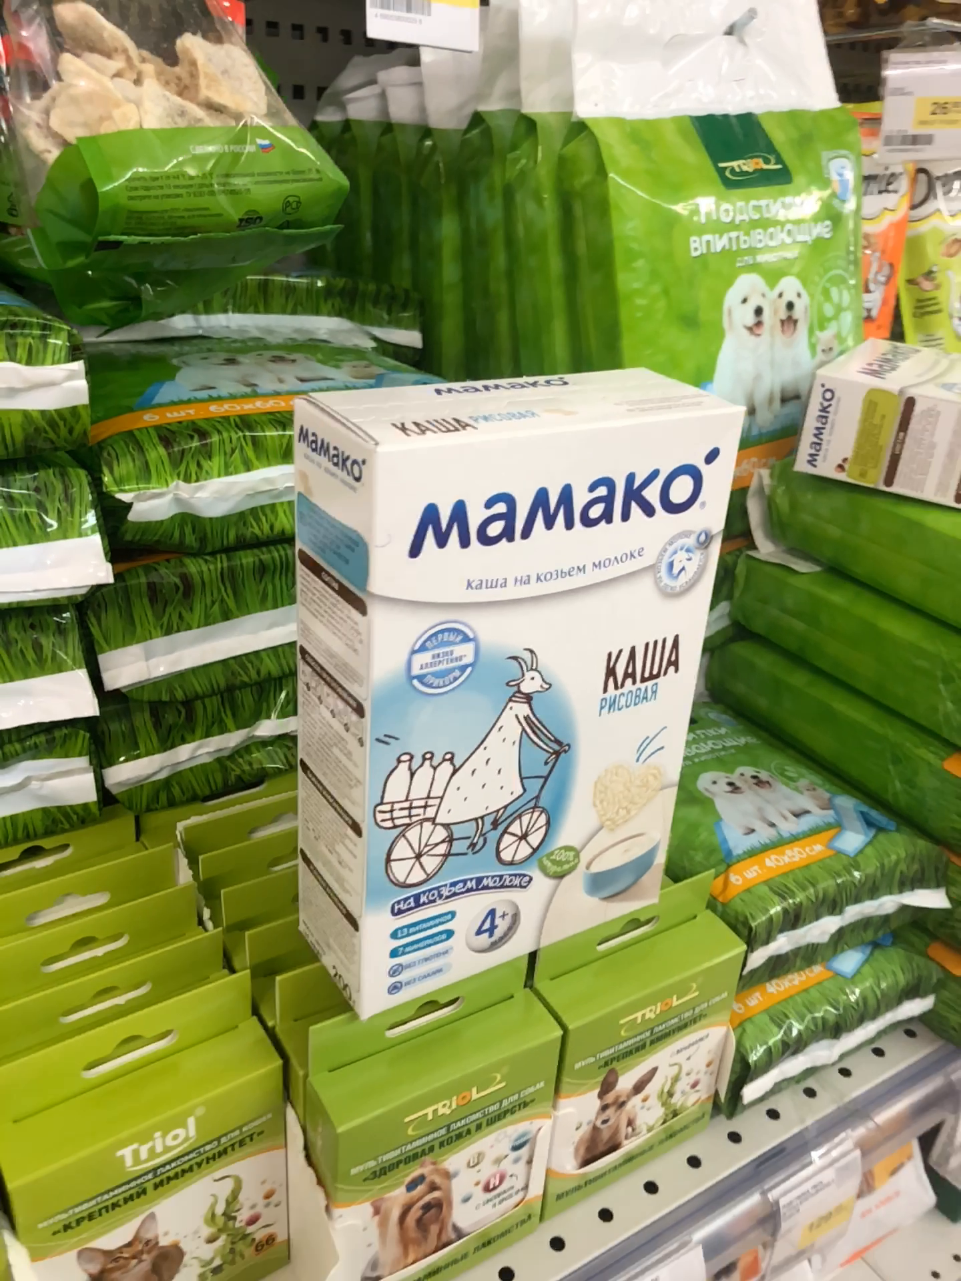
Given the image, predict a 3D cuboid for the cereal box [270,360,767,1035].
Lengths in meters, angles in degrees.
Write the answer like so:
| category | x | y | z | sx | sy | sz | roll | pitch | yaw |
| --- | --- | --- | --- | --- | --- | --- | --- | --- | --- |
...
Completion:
| category | x | y | z | sx | sy | sz | roll | pitch | yaw |
| --- | --- | --- | --- | --- | --- | --- | --- | --- | --- |
| cereal box | 0.008 | 0.015 | 0.363 | 0.140 | 0.199 | 0.060 | -12 | 30 | -30 |
